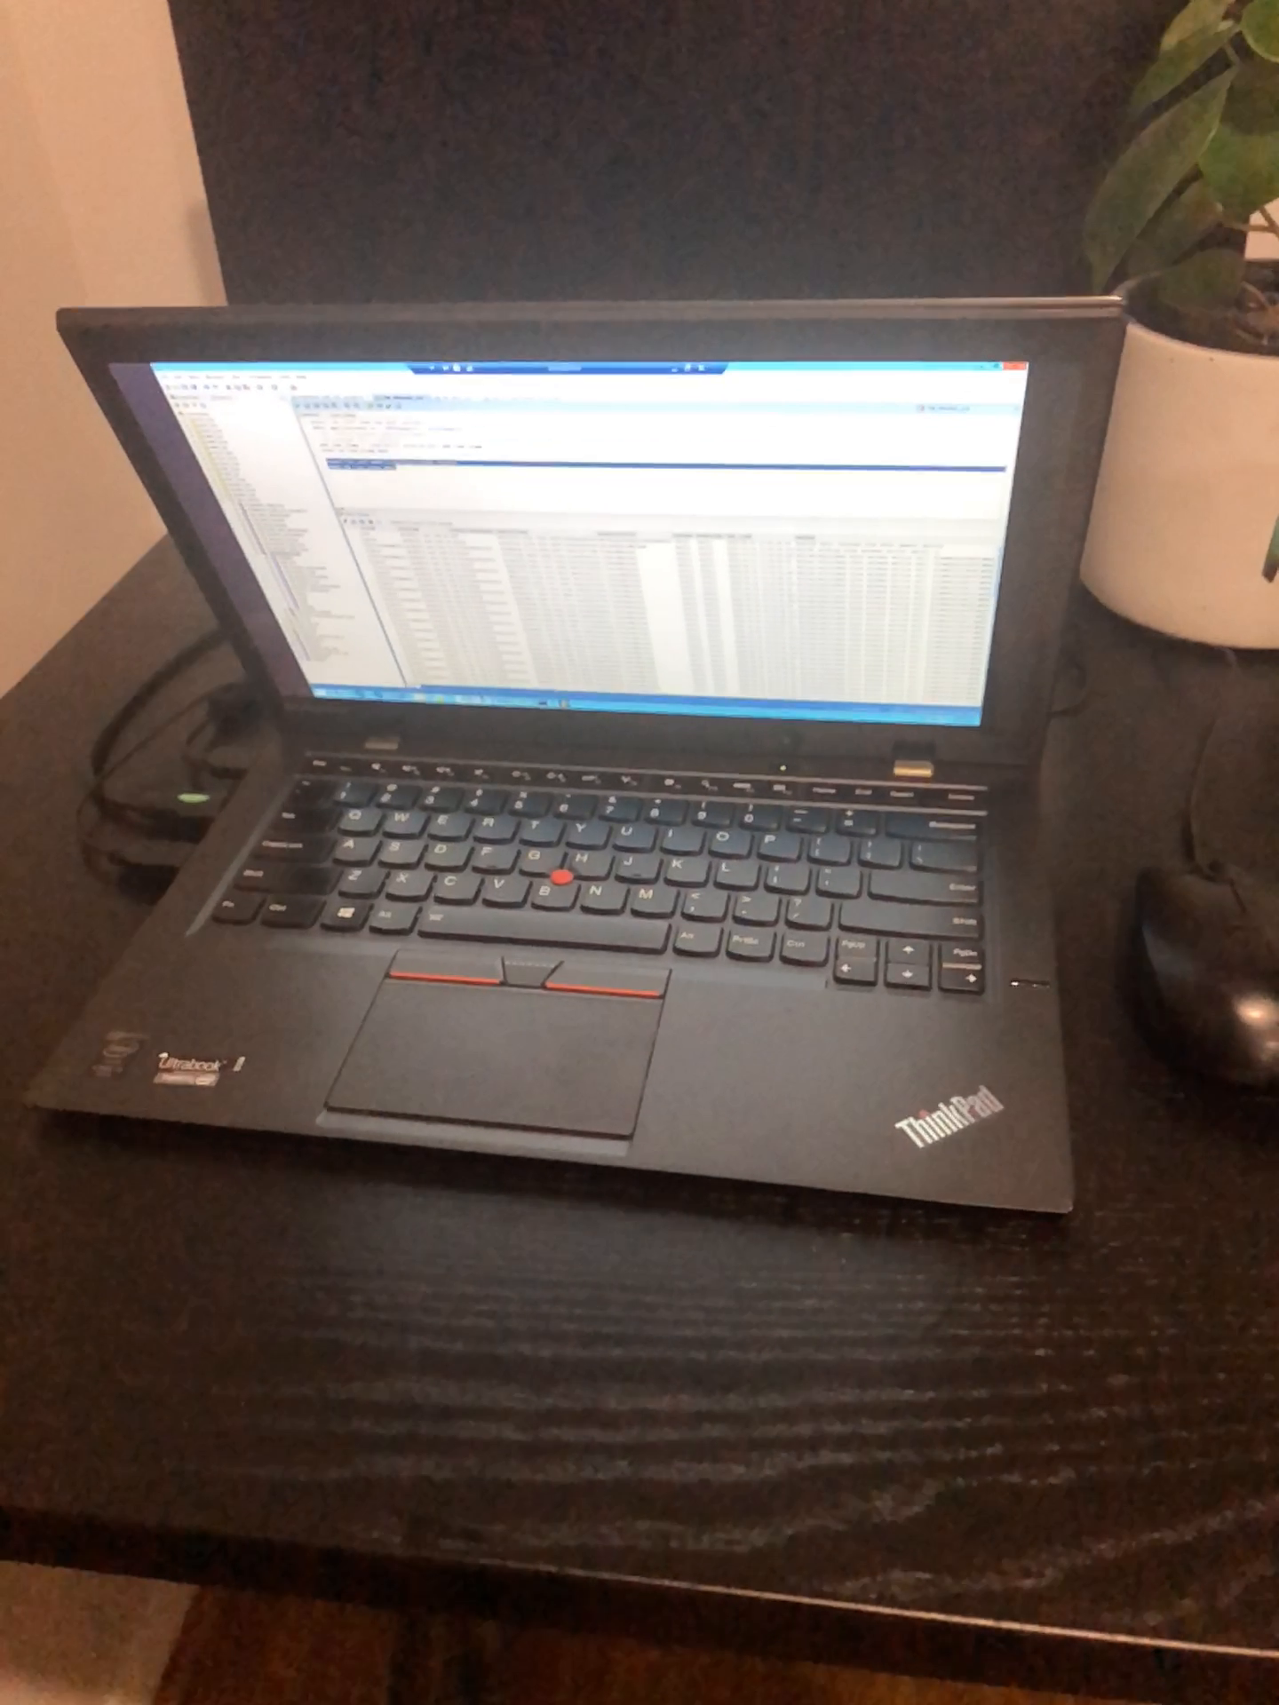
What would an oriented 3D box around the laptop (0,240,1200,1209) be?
[{"bbox_3d":[-0.028,-0.064,0.476,0.340,0.214,0.245,3,35,11],"label":"laptop"}]
